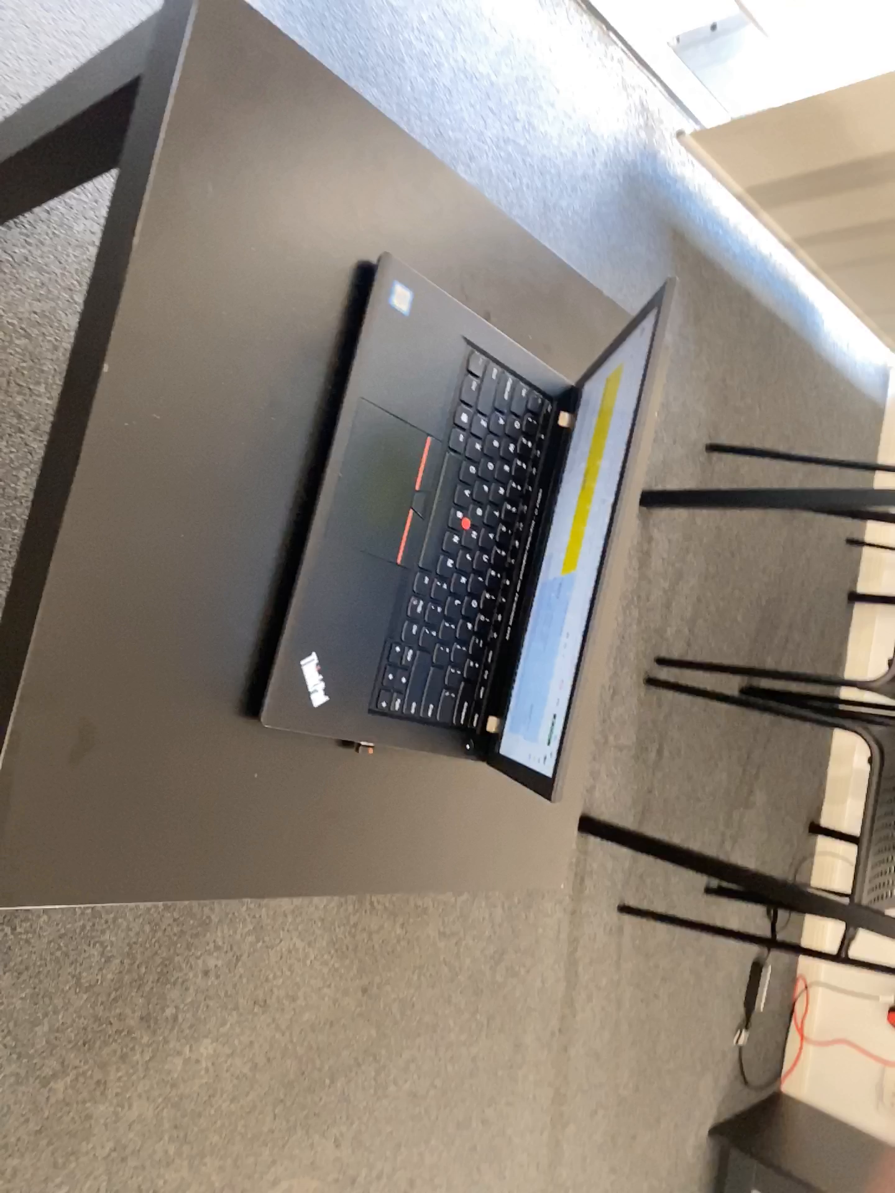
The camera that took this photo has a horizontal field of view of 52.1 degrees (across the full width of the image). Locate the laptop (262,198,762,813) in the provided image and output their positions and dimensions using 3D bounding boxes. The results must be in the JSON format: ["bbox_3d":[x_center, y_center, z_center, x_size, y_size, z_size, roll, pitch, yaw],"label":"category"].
[{"bbox_3d":[0.054,-0.044,0.630,0.224,0.165,0.332,19,82,-44],"label":"laptop"}]
